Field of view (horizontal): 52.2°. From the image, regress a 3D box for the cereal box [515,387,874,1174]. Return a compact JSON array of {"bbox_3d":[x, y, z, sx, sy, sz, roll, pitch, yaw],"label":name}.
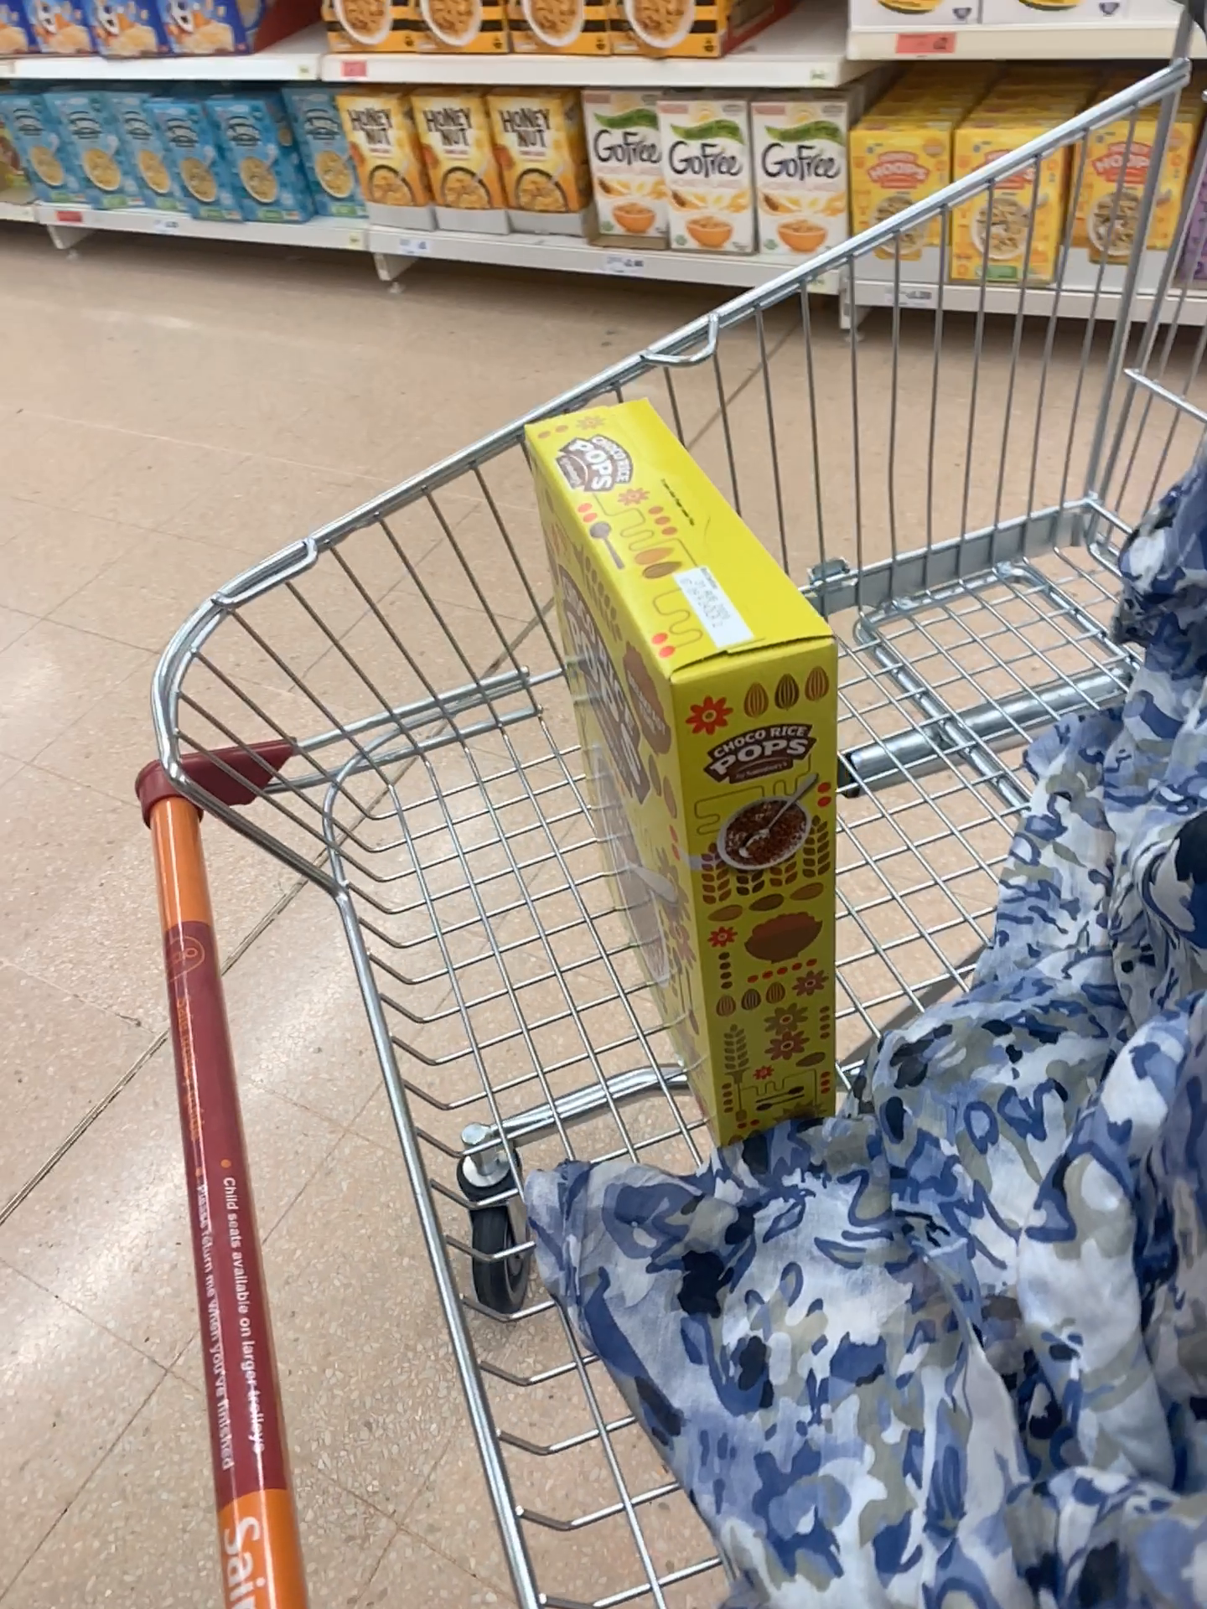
[{"bbox_3d":[0.035,-0.006,0.530,0.060,0.267,0.202,-16,44,-9],"label":"cereal box"}]
